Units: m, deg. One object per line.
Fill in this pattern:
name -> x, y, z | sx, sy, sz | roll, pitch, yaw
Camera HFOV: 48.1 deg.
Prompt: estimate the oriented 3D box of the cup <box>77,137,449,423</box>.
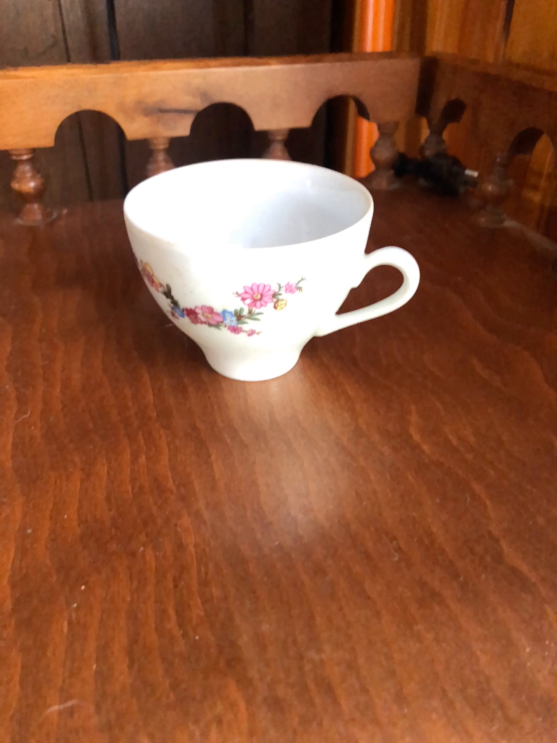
cup -> 0.001, -0.036, 0.202 | 0.090, 0.050, 0.081 | 11, 36, 15
